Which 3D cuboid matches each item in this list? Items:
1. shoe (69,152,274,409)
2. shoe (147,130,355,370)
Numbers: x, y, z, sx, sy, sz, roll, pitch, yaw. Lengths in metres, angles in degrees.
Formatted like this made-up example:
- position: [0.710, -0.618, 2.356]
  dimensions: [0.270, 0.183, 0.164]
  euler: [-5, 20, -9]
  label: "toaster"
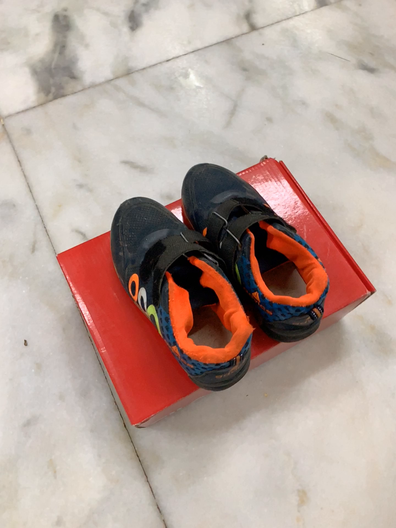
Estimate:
- position: [-0.030, 0.013, 0.375]
  dimensions: [0.080, 0.080, 0.211]
  euler: [-27, 70, -12]
  label: "shoe"
- position: [0.041, -0.015, 0.413]
  dimensions: [0.090, 0.090, 0.211]
  euler: [-28, 70, -13]
  label: "shoe"
